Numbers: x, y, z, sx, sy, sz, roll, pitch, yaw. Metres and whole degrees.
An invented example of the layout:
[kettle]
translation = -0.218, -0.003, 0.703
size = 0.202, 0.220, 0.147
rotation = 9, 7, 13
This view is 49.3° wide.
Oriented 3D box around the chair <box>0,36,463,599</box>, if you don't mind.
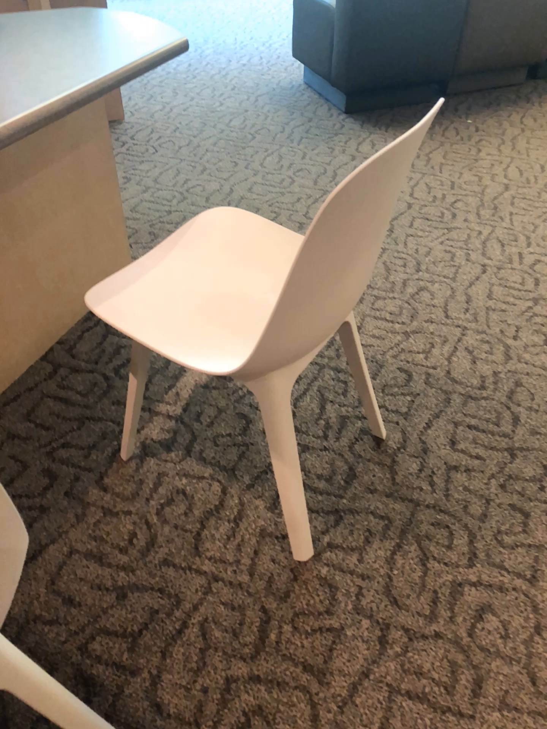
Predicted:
[chair]
translation = -0.076, -0.087, 1.126
size = 0.551, 0.794, 0.482
rotation = 23, 46, 23
